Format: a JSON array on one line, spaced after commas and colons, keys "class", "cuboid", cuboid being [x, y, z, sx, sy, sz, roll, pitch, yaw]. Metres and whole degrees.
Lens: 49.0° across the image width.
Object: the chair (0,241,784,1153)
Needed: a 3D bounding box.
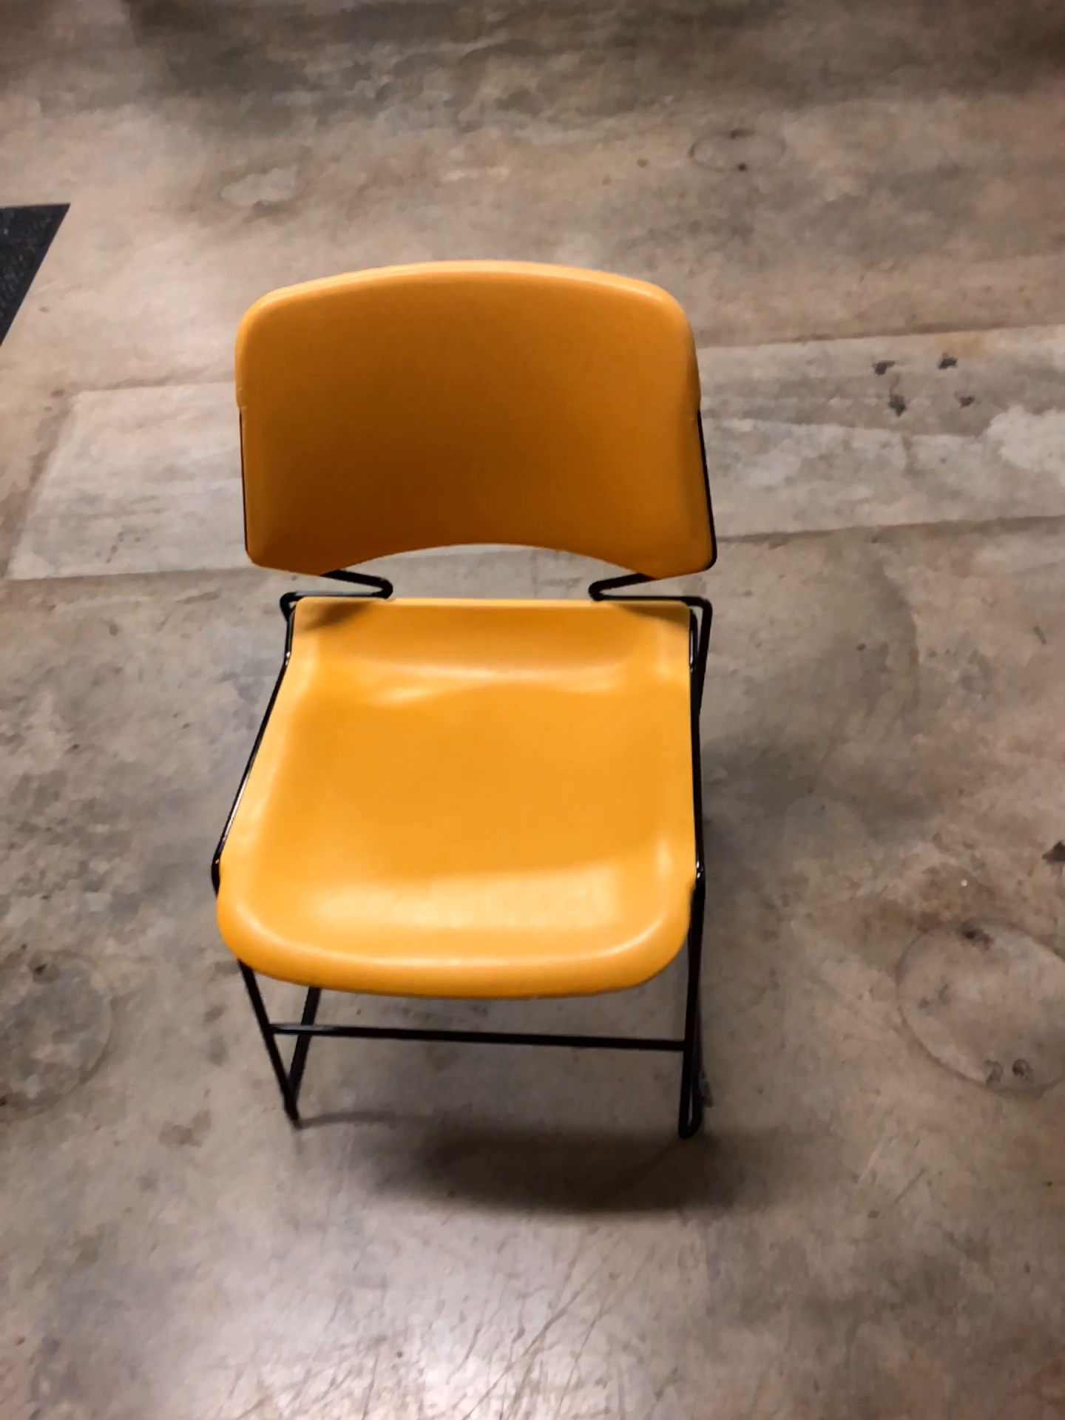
[{"class": "chair", "cuboid": [-0.067, 0.036, 1.207, 0.529, 0.797, 0.525, 0, 49, 5]}]
